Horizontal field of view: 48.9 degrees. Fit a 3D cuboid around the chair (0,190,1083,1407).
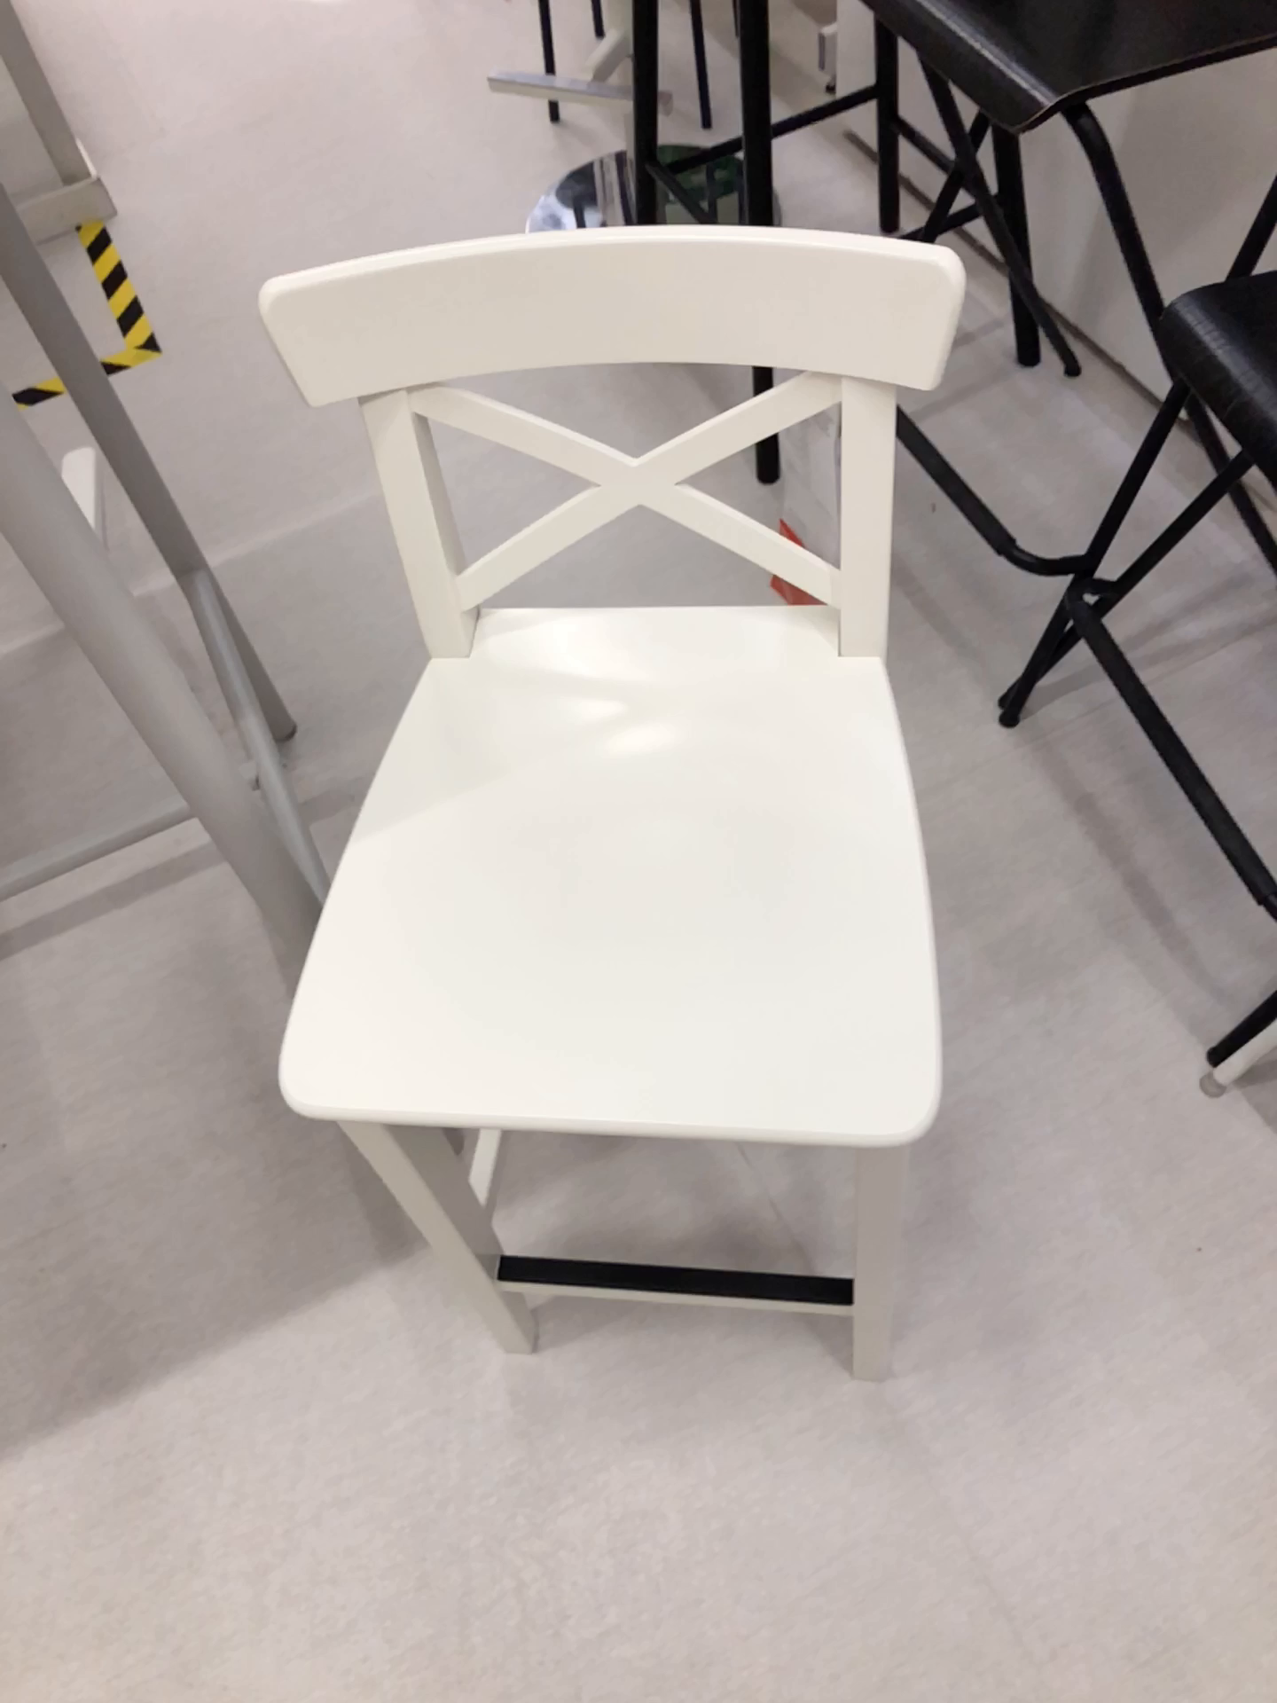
[{"bbox_3d":[0.017,0.064,0.976,0.420,0.835,0.422,1,58,9],"label":"chair"}]
